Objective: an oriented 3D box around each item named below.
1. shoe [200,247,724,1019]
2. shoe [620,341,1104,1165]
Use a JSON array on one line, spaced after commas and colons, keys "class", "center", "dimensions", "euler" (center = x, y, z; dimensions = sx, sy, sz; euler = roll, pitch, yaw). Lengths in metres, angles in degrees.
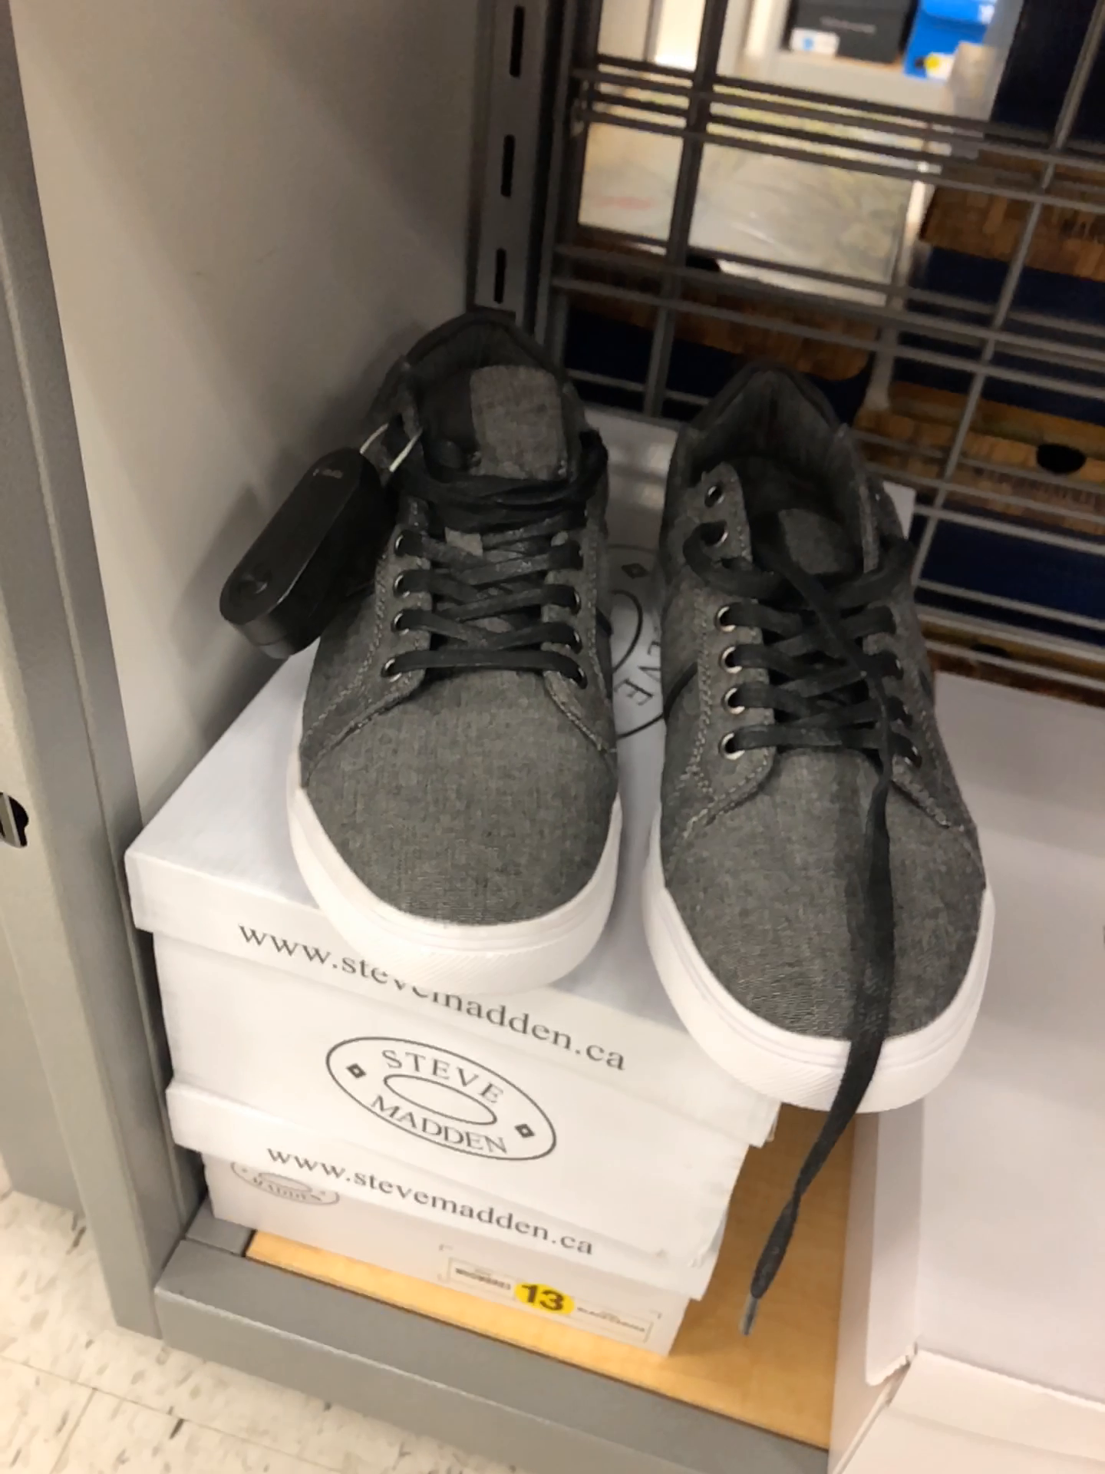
[{"class": "shoe", "center": [-0.027, -0.051, 0.389], "dimensions": [0.110, 0.106, 0.255], "euler": [3, 41, -5]}, {"class": "shoe", "center": [0.079, -0.015, 0.384], "dimensions": [0.100, 0.106, 0.255], "euler": [6, 41, -2]}]
